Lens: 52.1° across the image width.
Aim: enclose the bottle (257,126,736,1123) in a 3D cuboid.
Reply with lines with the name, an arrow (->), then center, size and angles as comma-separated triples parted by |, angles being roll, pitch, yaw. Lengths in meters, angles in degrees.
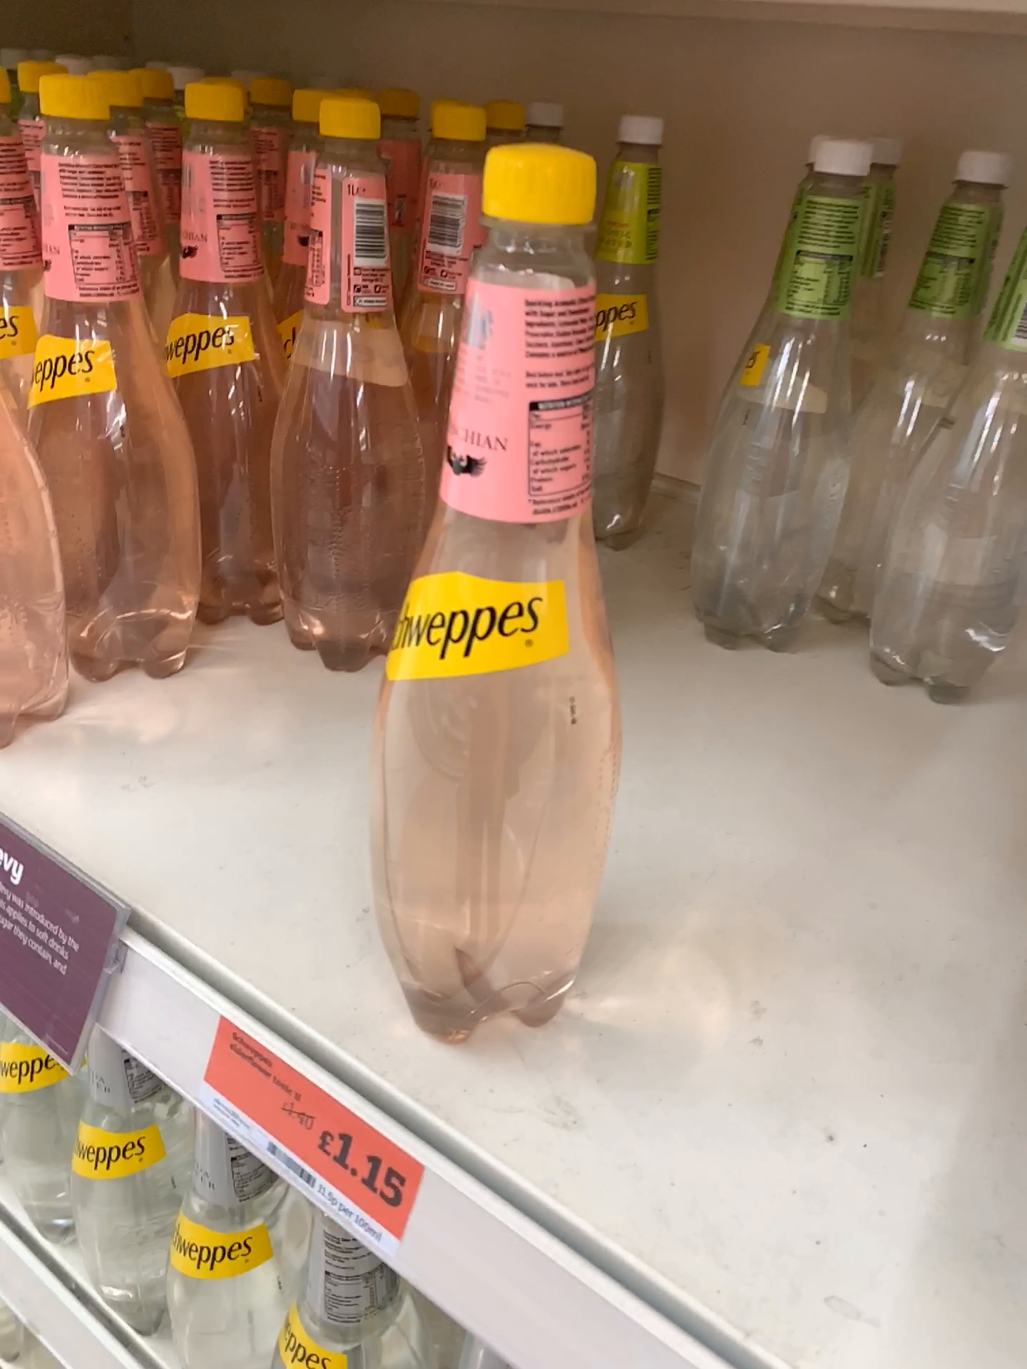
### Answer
bottle -> -0.015, -0.009, 0.344 | 0.085, 0.299, 0.090 | 4, 30, -2
